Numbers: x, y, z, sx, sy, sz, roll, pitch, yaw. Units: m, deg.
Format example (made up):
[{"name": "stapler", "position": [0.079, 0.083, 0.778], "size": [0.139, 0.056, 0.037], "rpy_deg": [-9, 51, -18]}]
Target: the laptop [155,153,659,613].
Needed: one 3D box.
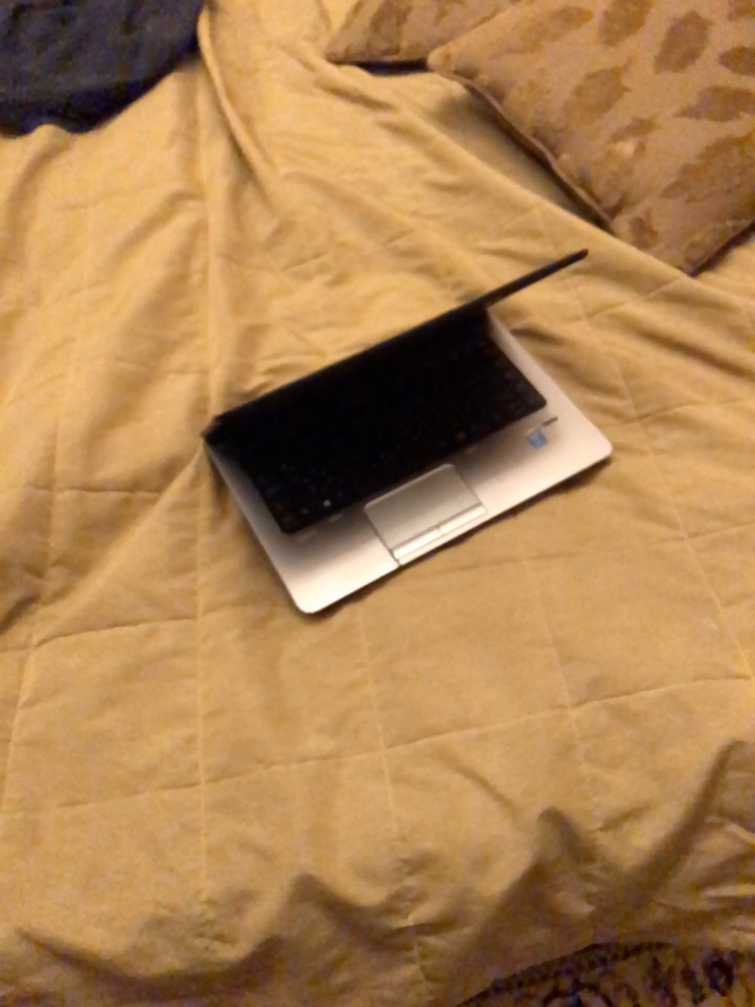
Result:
[{"name": "laptop", "position": [0.022, -0.112, 0.740], "size": [0.331, 0.189, 0.225], "rpy_deg": [-27, 59, -15]}]
